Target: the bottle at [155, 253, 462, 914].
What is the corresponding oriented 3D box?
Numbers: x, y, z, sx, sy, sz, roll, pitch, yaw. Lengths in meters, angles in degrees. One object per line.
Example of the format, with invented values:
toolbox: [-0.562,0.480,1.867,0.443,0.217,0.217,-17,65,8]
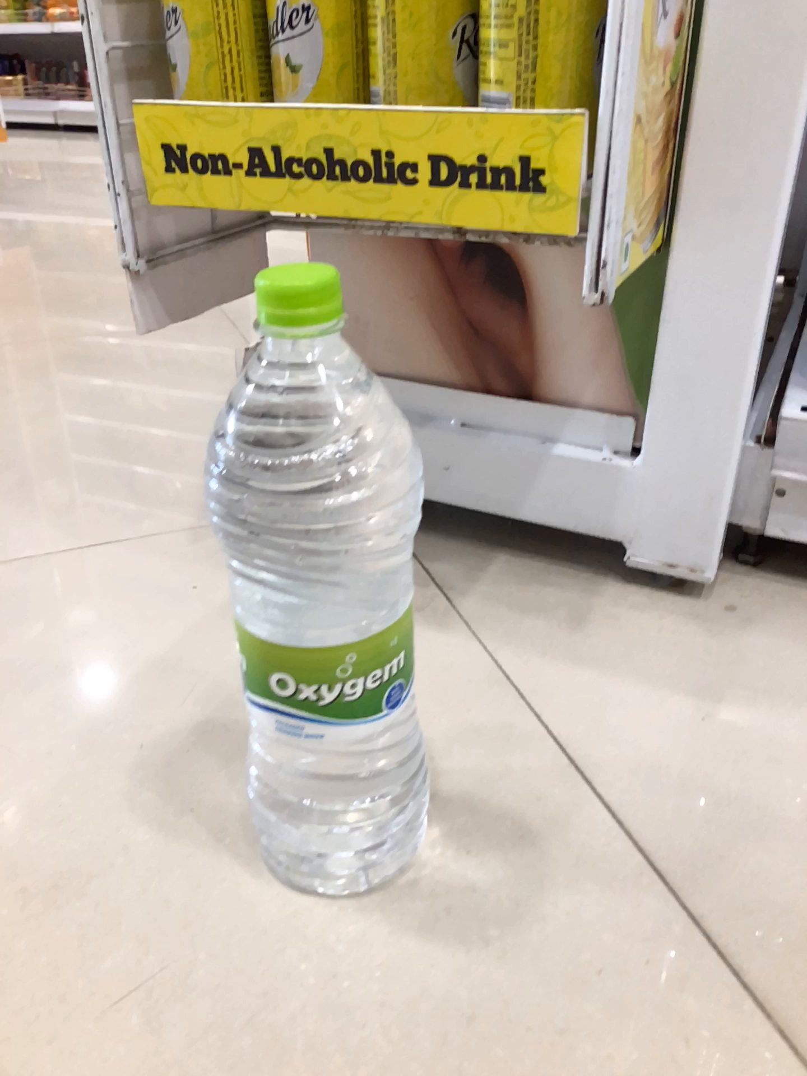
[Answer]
bottle: [-0.027,0.027,0.357,0.090,0.258,0.080,-1,28,-1]
